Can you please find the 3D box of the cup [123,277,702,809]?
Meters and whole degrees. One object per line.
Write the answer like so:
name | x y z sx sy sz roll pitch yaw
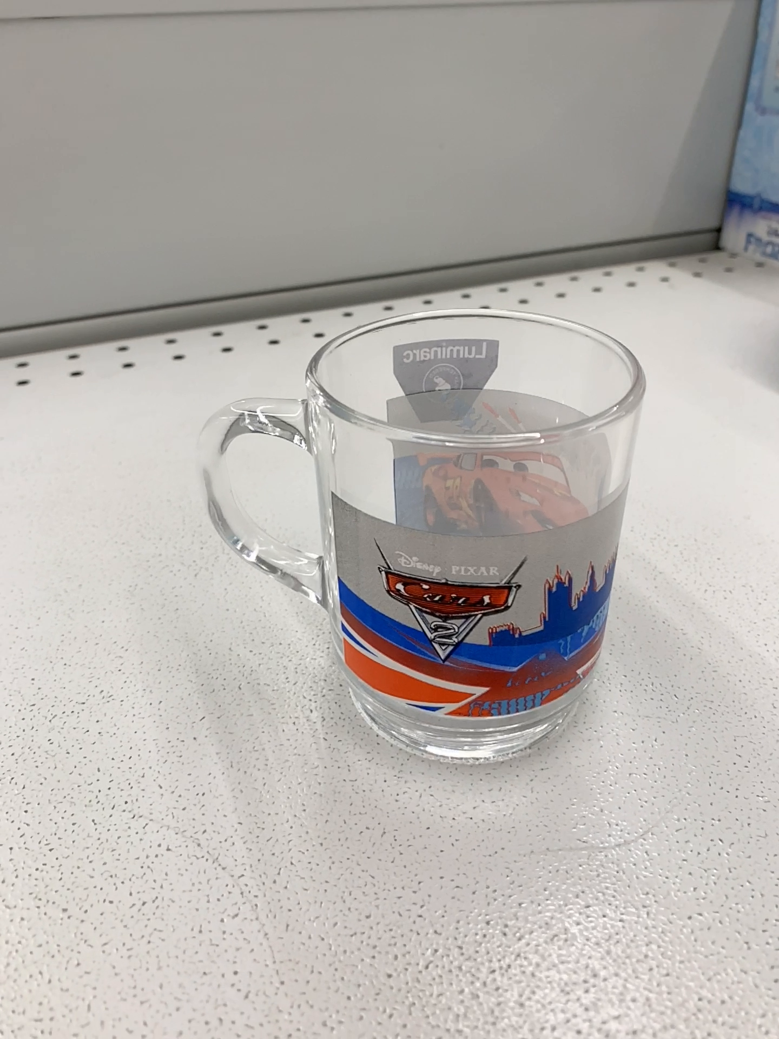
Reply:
cup | 0.011 -0.002 0.189 0.101 0.081 0.072 10 35 17
